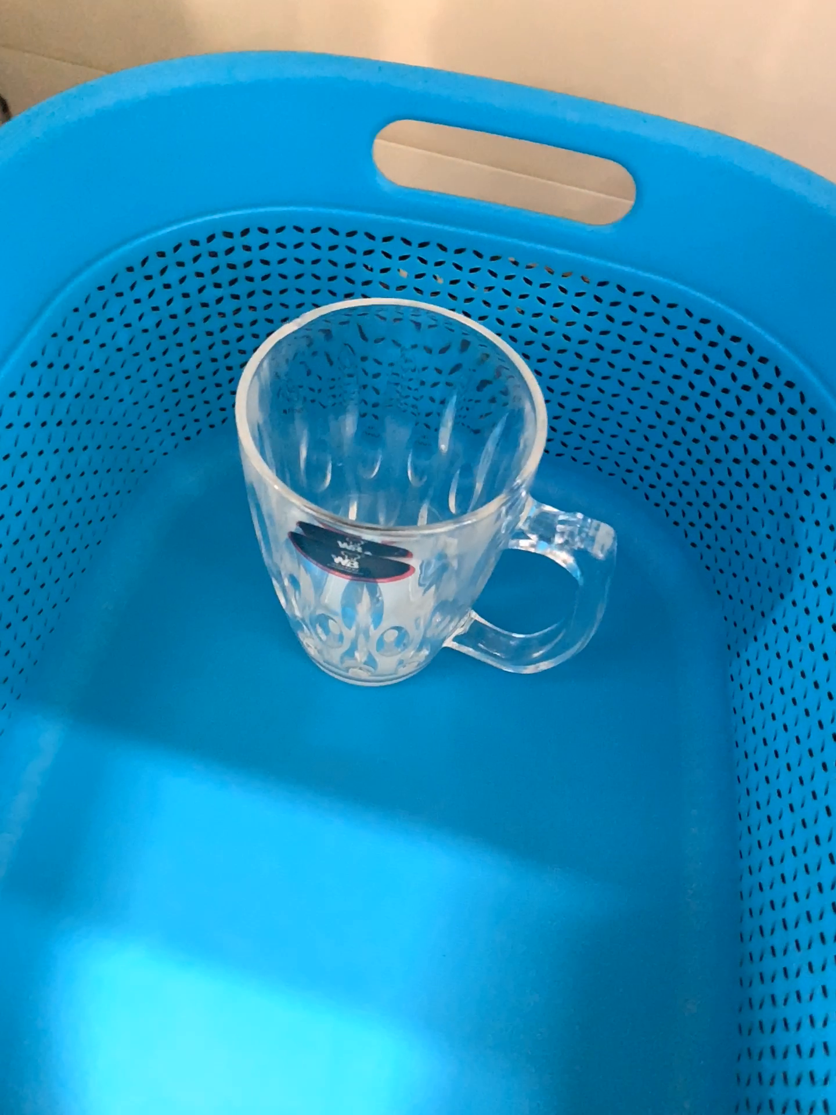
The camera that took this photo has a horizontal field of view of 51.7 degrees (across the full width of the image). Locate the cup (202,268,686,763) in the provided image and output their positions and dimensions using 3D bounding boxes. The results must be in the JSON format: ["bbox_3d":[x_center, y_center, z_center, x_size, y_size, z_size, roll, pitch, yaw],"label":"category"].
[{"bbox_3d":[0.007,-0.005,0.263,0.109,0.117,0.078,12,57,2],"label":"cup"}]
